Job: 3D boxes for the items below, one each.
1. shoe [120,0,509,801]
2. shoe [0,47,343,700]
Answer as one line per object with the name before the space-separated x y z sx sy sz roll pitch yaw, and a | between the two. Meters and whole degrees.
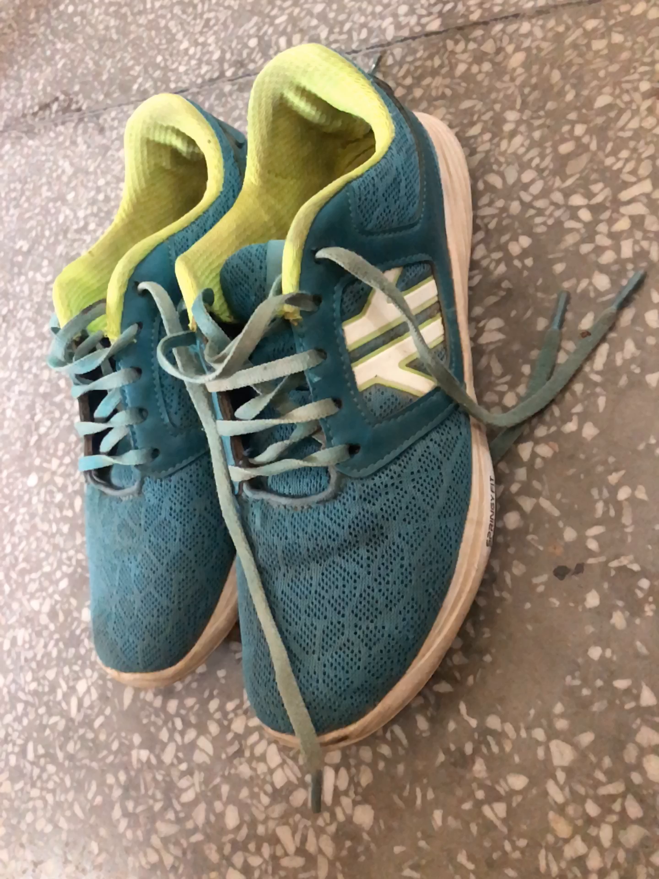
shoe | 0.002 -0.019 0.272 0.100 0.080 0.250 -5 76 36
shoe | -0.070 -0.024 0.312 0.090 0.080 0.240 -3 71 36
